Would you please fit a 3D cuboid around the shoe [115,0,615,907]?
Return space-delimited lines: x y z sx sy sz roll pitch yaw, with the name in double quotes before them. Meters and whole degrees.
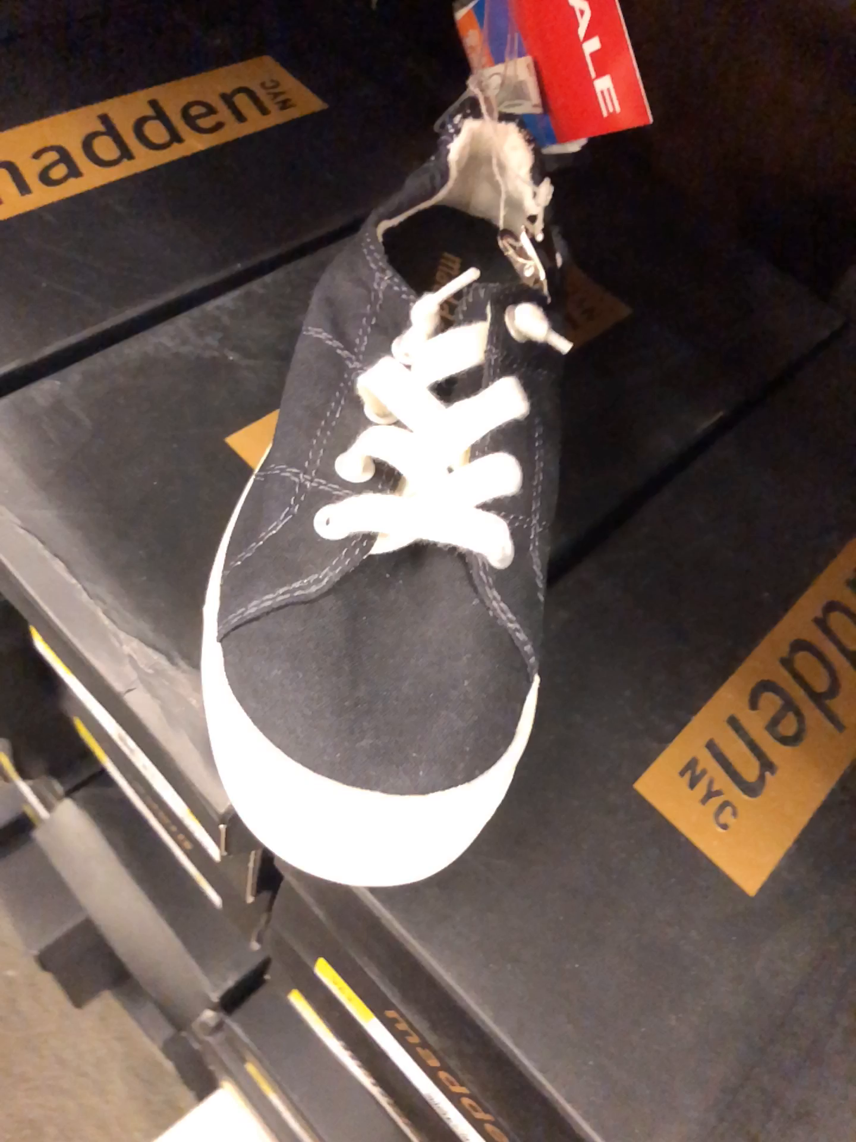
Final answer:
"shoe" -0.007 -0.048 0.251 0.080 0.082 0.235 11 55 -7
